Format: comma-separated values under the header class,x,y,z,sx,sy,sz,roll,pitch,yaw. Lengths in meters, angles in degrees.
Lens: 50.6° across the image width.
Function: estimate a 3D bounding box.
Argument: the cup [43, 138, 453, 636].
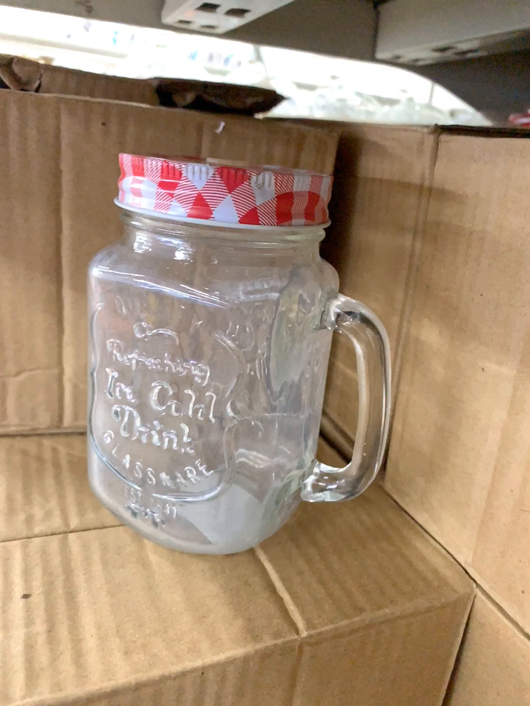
class,x,y,z,sx,sy,sz,roll,pitch,yaw
cup,-0.008,-0.002,0.190,0.100,0.119,0.080,15,18,28
